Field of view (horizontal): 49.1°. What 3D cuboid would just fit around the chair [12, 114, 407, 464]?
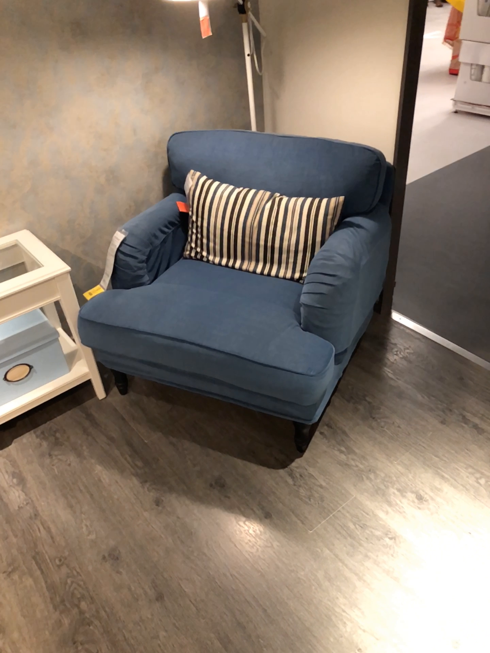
[{"bbox_3d":[-0.039,-0.205,1.783,0.891,0.695,0.804,13,40,22],"label":"chair"}]
